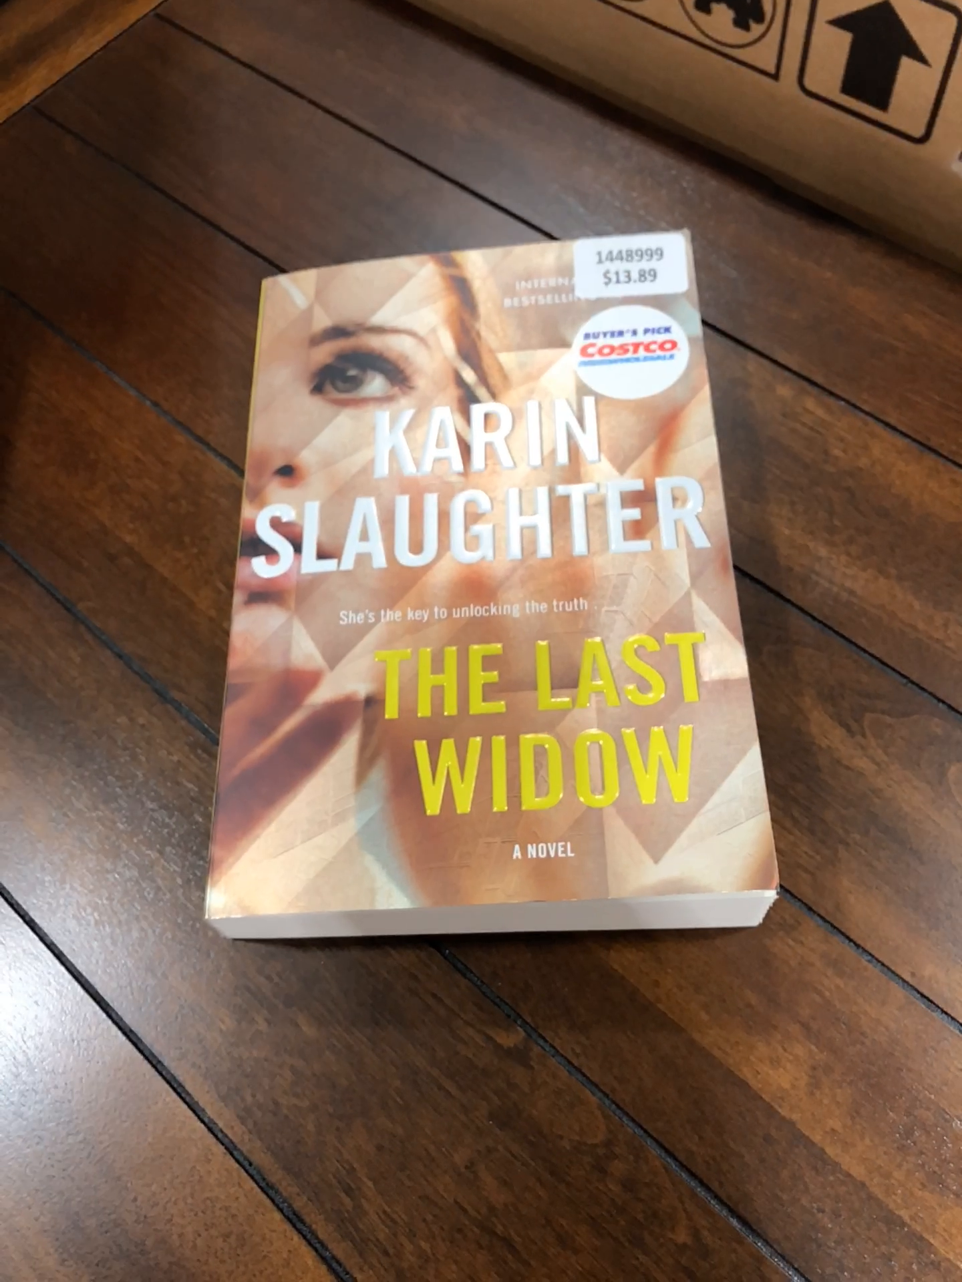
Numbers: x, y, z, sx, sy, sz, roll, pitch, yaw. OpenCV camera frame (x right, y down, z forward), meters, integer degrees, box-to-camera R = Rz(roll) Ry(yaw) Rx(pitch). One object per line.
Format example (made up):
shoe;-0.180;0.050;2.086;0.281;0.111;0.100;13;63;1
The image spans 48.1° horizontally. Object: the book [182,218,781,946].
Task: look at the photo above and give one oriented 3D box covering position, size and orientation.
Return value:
book;0.000;-0.026;0.344;0.154;0.042;0.230;-4;64;7
